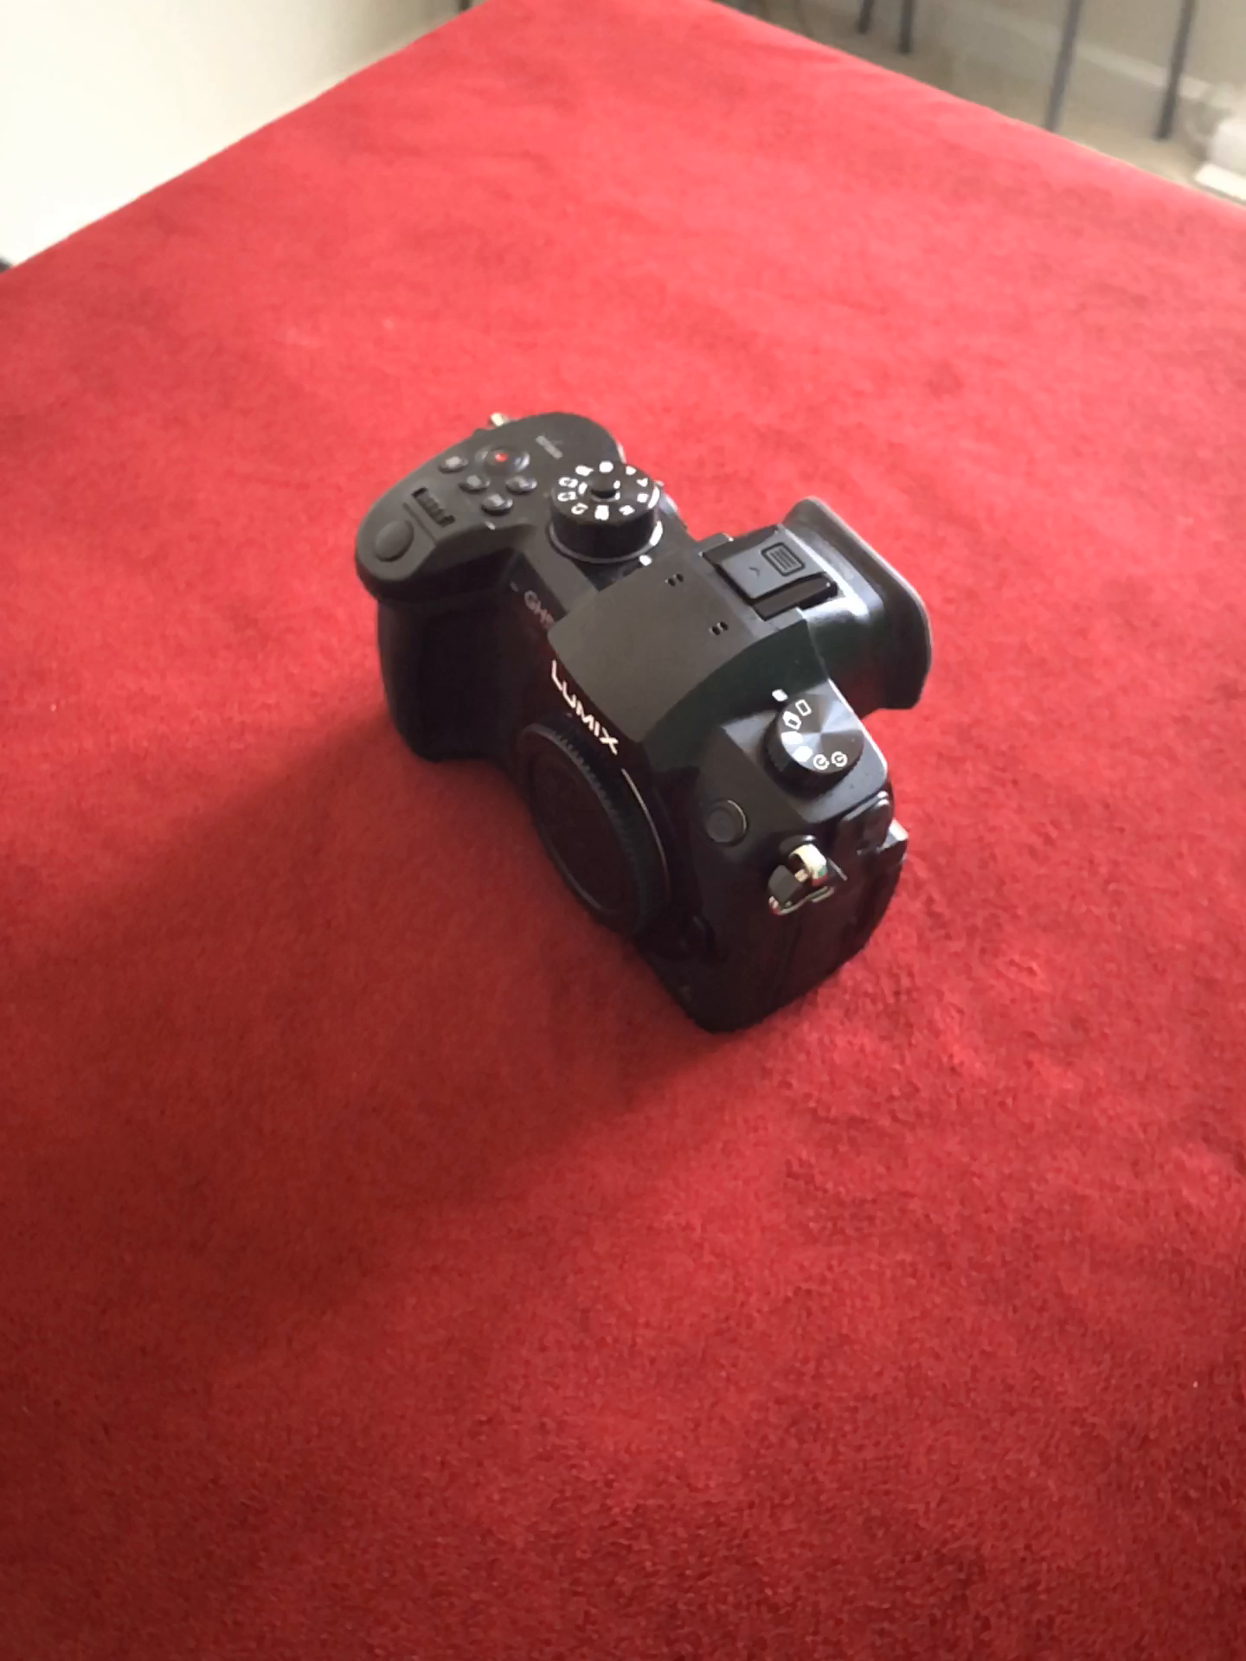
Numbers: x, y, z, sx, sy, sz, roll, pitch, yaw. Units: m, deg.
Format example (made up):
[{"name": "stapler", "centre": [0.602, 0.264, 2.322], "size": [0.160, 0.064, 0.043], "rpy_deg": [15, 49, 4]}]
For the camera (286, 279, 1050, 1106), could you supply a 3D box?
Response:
[{"name": "camera", "centre": [0.002, -0.035, 0.316], "size": [0.085, 0.087, 0.148], "rpy_deg": [-27, 60, -20]}]
